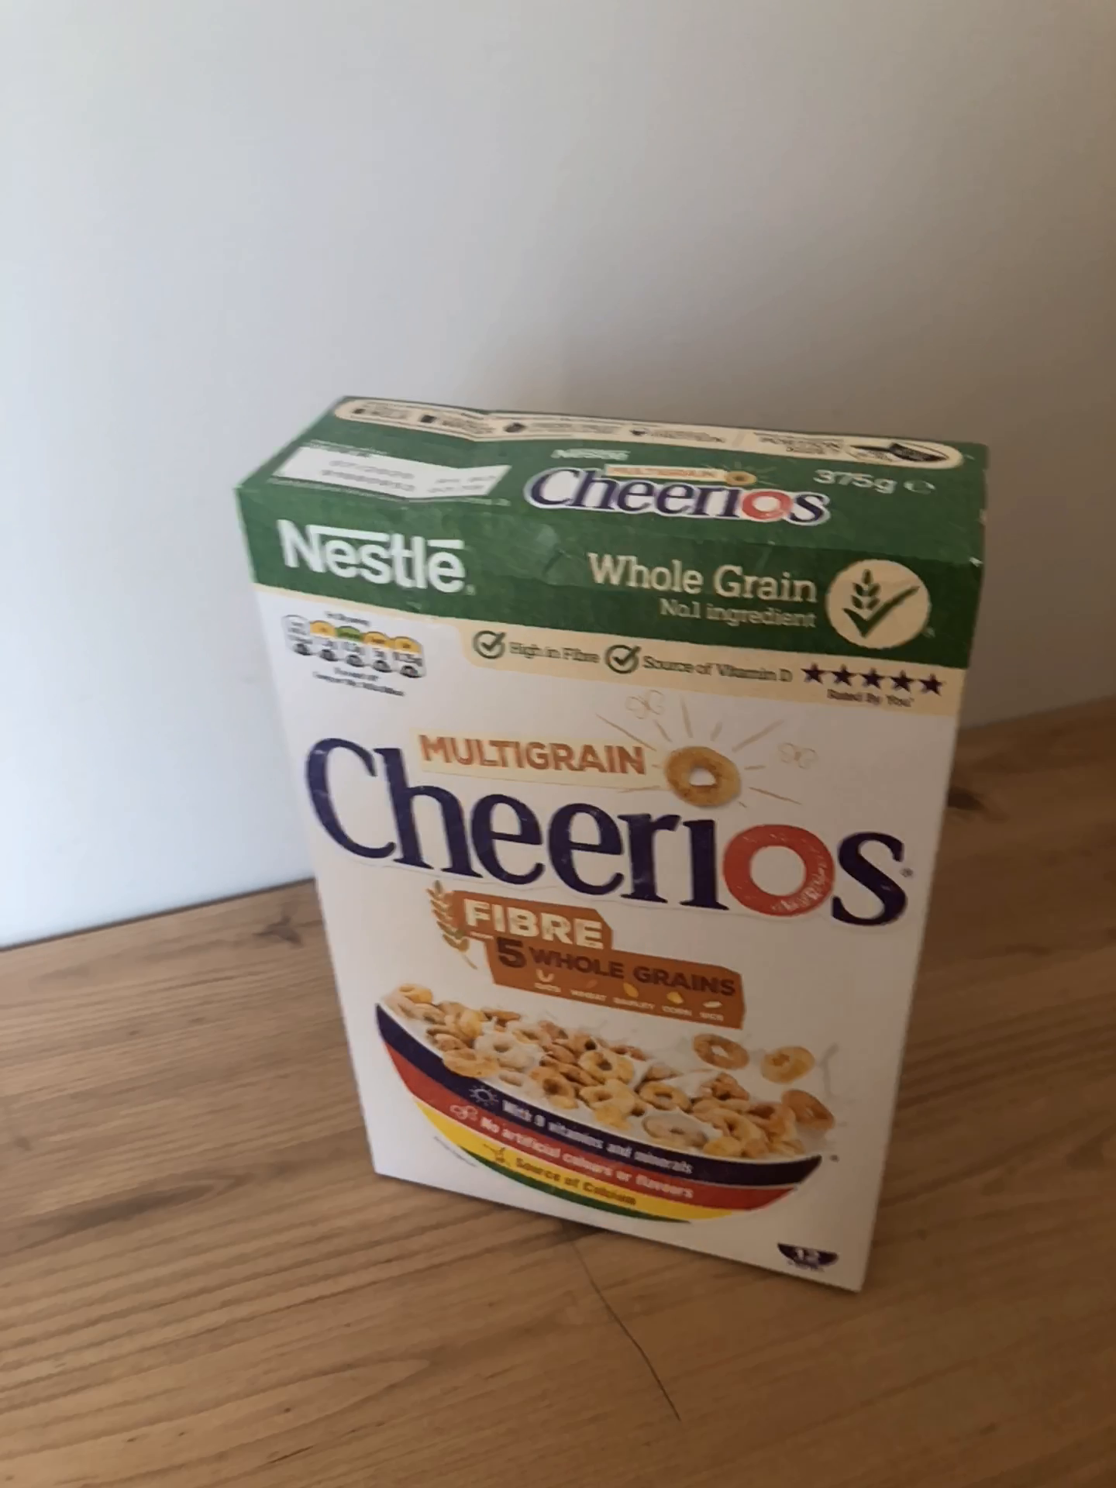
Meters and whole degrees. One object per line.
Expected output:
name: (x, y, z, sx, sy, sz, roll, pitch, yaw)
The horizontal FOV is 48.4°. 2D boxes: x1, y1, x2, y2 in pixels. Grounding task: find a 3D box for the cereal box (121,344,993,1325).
cereal box: (0.007, 0.042, 0.407, 0.210, 0.308, 0.081, 8, 37, 15)
